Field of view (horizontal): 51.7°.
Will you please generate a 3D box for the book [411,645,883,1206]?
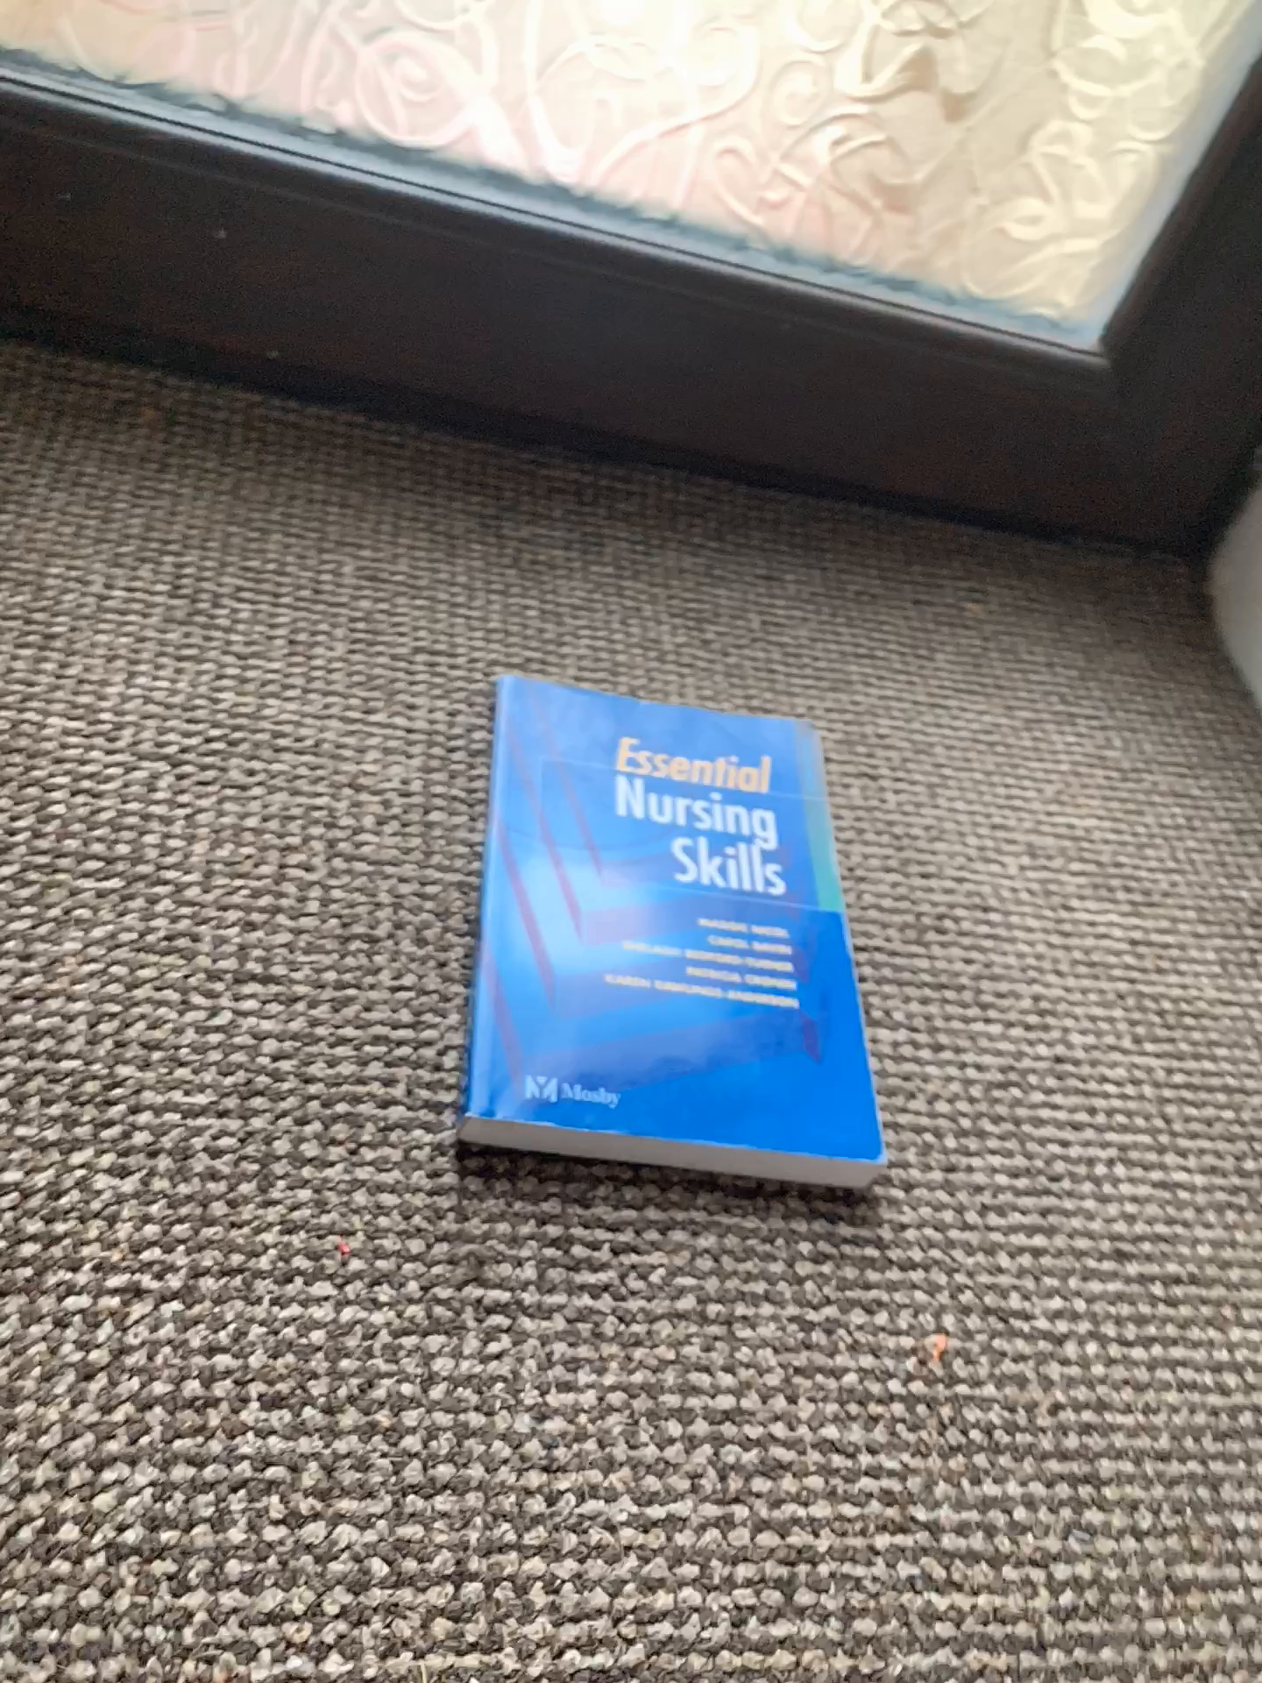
[{"bbox_3d":[0.006,0.023,0.548,0.170,0.020,0.252,8,49,-11],"label":"book"}]
